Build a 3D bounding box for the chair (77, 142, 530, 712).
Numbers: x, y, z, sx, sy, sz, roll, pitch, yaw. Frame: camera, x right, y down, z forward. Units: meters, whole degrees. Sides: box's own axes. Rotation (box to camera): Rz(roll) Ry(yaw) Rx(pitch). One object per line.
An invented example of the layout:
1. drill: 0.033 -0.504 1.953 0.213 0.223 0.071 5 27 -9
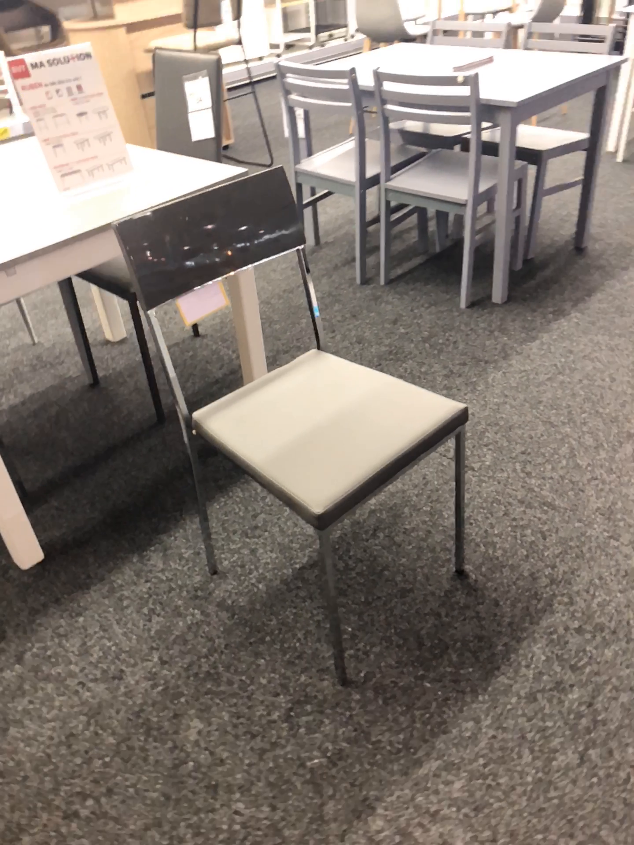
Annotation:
1. chair: -0.001 -0.012 1.364 0.492 0.855 0.551 -33 44 -33
